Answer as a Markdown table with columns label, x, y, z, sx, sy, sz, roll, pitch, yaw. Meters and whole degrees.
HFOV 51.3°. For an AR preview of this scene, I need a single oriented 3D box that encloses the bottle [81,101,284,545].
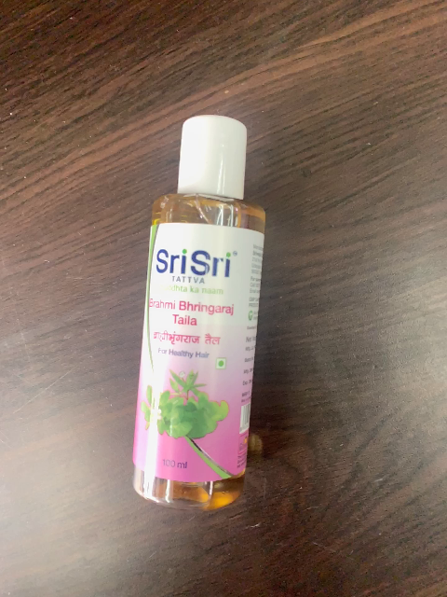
| label | x | y | z | sx | sy | sz | roll | pitch | yaw |
| --- | --- | --- | --- | --- | --- | --- | --- | --- | --- |
| bottle | -0.011 | 0.006 | 0.161 | 0.050 | 0.040 | 0.130 | 5 | 90 | 10 |
